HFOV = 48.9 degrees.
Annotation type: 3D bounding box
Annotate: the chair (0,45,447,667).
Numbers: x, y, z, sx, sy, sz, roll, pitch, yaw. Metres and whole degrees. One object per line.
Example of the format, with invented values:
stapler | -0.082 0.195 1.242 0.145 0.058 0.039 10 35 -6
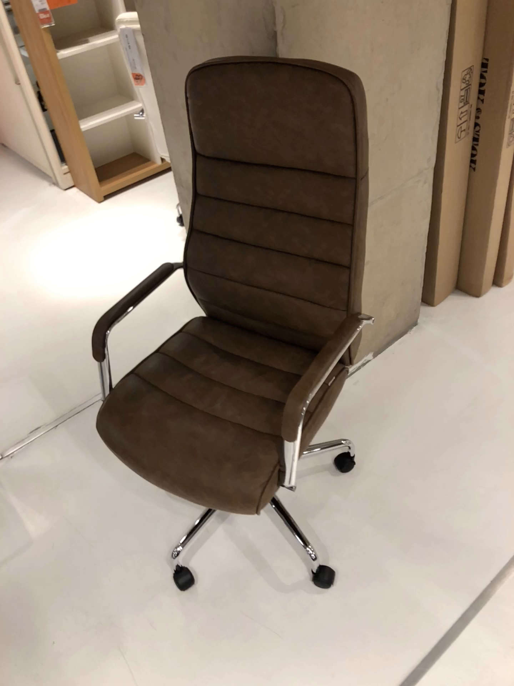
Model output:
chair | -0.089 0.018 1.177 0.642 0.963 0.633 21 50 29
